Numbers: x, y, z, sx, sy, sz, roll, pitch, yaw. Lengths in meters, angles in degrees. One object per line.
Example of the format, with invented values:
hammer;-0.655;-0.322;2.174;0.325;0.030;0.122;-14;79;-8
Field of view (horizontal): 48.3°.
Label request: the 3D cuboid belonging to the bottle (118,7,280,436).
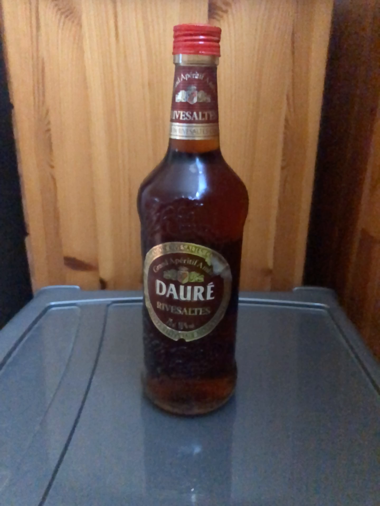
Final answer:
bottle;0.006;-0.013;0.330;0.090;0.299;0.090;1;21;0
